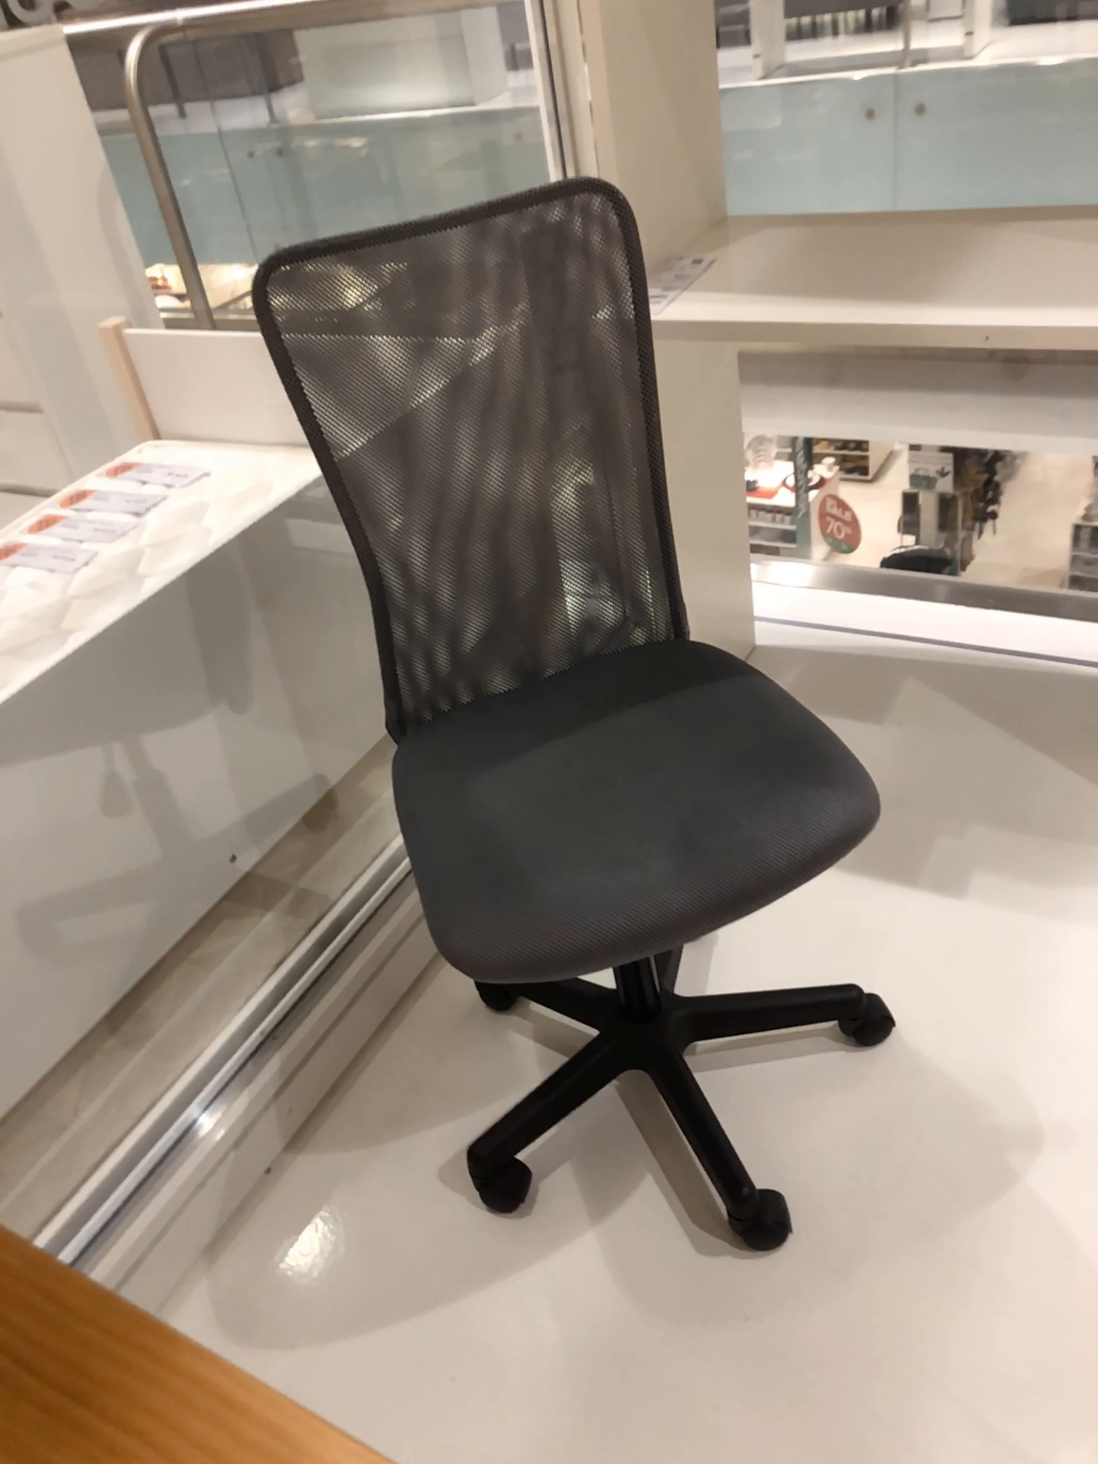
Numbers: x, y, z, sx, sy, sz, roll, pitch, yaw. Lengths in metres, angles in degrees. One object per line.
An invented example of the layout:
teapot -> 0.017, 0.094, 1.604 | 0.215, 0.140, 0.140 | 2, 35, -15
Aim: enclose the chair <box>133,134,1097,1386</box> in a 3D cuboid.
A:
chair -> 0.064, 0.010, 1.199 | 0.580, 0.932, 0.604 | -20, 36, -12
